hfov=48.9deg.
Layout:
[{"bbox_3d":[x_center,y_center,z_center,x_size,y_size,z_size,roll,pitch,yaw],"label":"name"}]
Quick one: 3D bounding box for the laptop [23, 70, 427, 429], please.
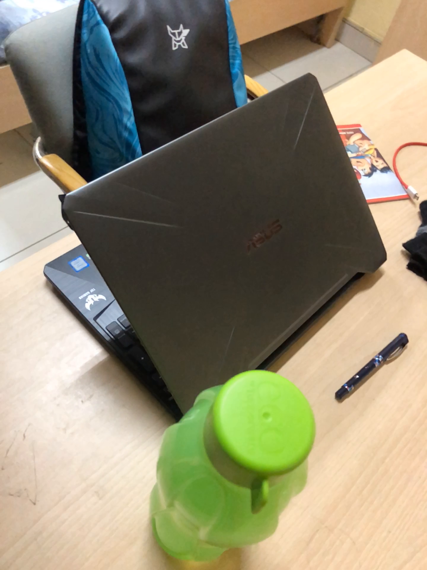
[{"bbox_3d":[0.027,-0.066,0.518,0.248,0.147,0.340,42,58,20],"label":"laptop"}]
